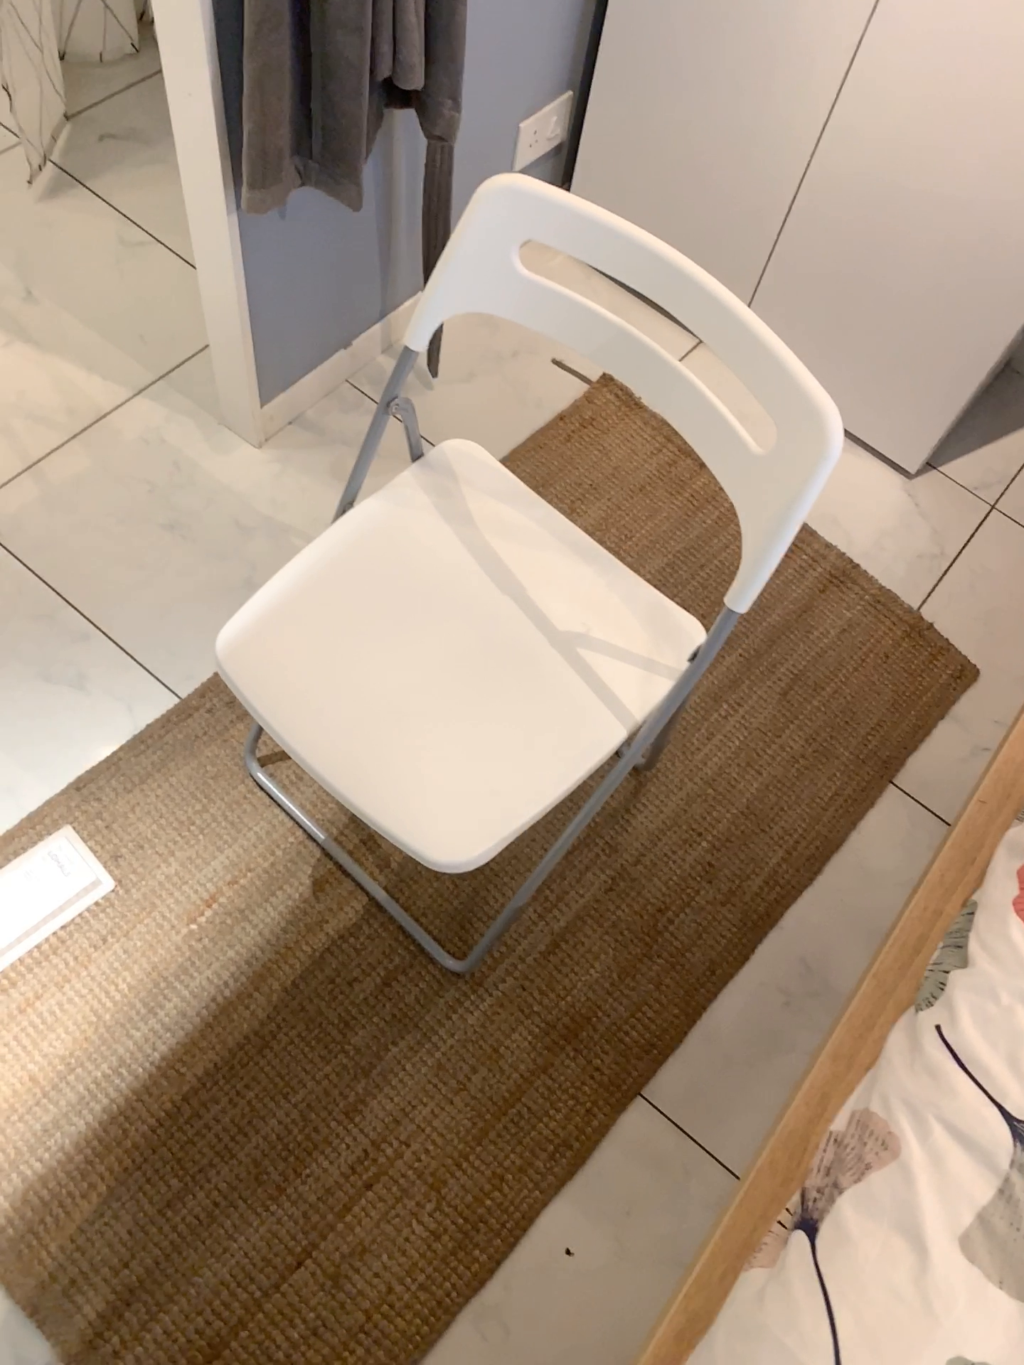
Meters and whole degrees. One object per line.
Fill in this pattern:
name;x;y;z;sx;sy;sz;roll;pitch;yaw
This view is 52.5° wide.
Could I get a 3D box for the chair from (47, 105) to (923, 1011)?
chair;-0.045;-0.060;1.023;0.450;0.659;0.430;42;65;14
